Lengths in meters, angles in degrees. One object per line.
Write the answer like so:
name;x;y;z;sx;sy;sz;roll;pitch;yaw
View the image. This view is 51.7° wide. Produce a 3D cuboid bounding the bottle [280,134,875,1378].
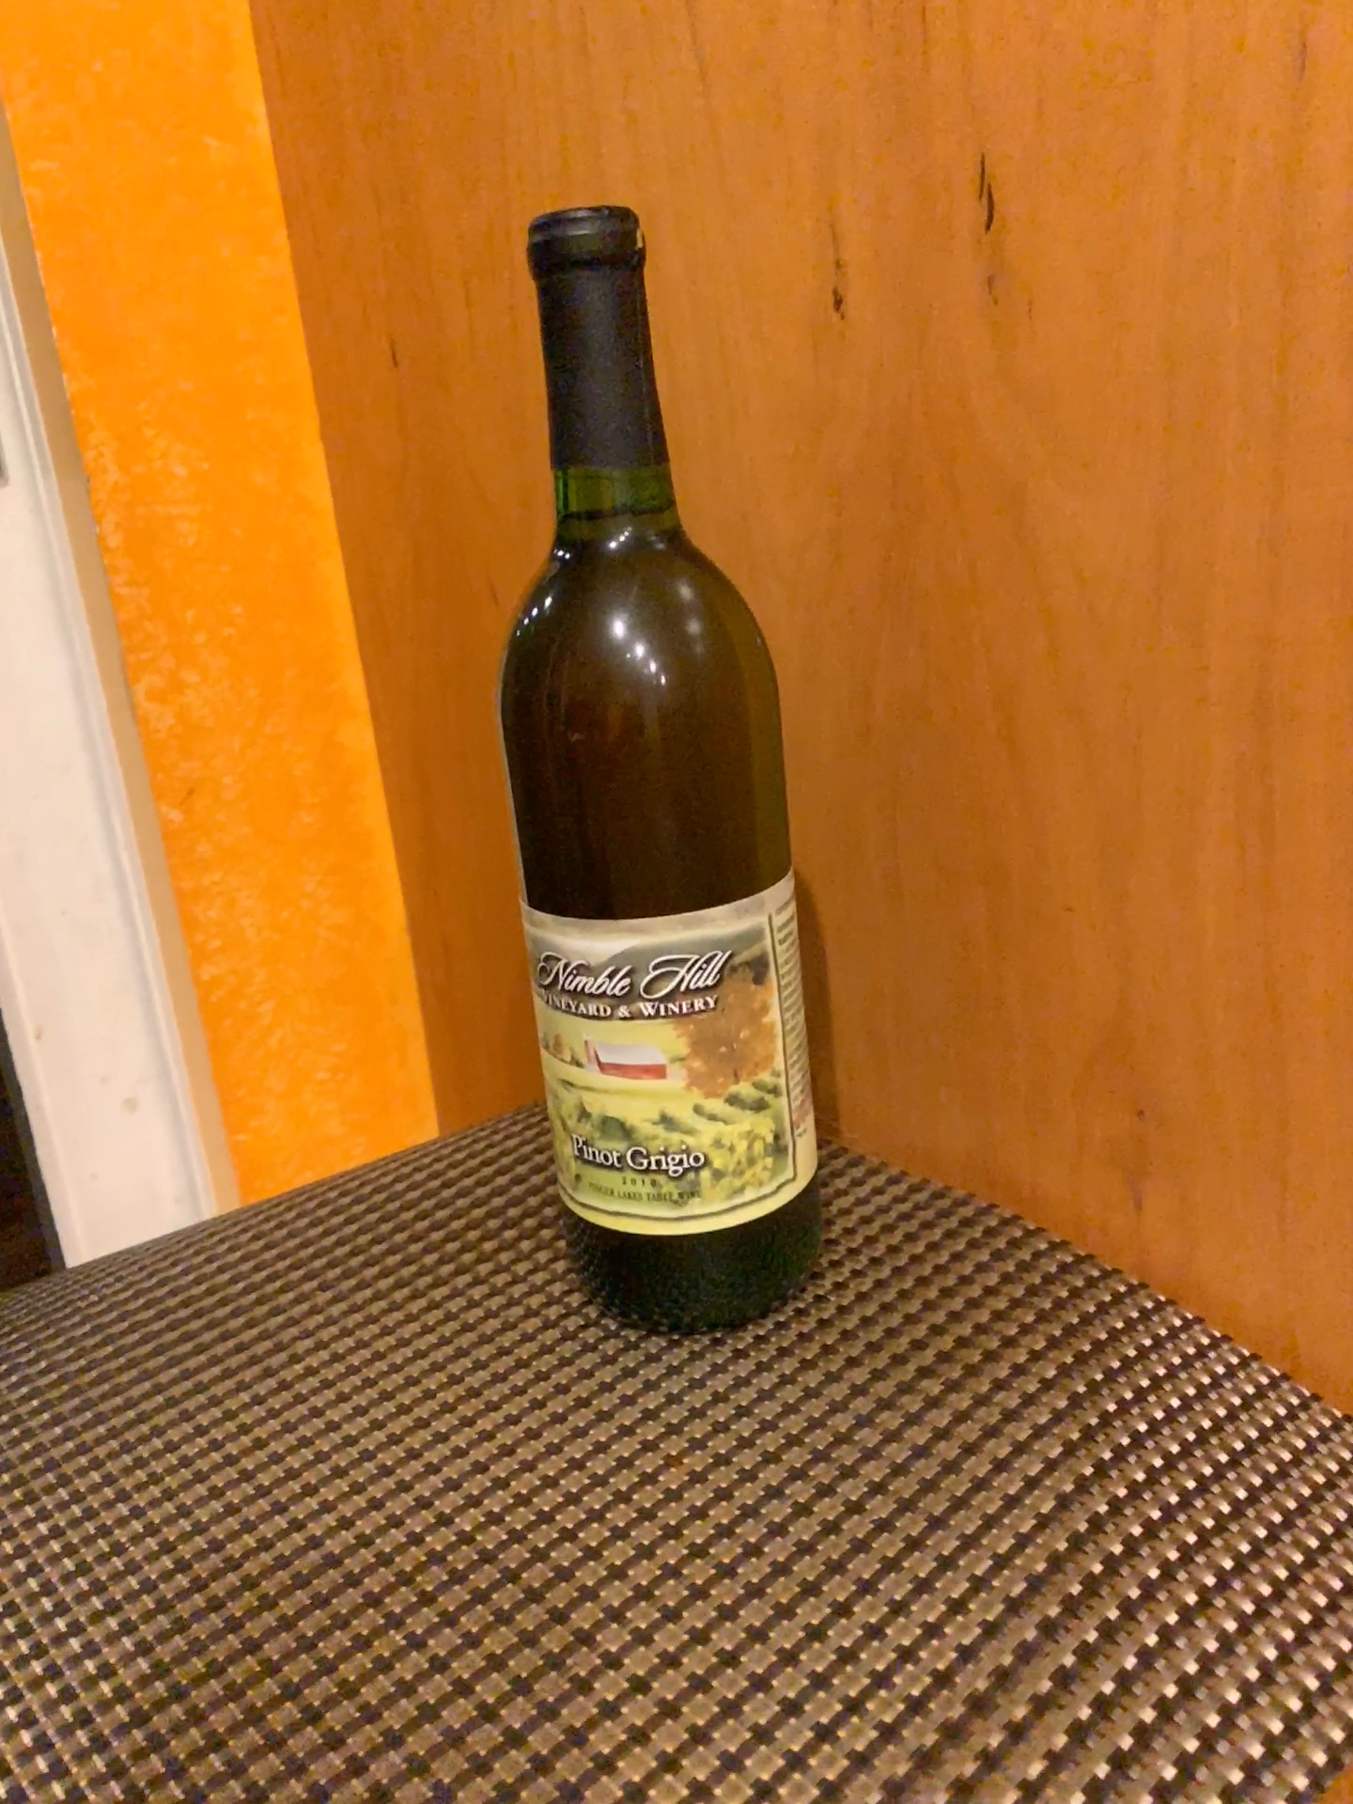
bottle;-0.015;-0.030;0.352;0.090;0.269;0.080;5;20;31
